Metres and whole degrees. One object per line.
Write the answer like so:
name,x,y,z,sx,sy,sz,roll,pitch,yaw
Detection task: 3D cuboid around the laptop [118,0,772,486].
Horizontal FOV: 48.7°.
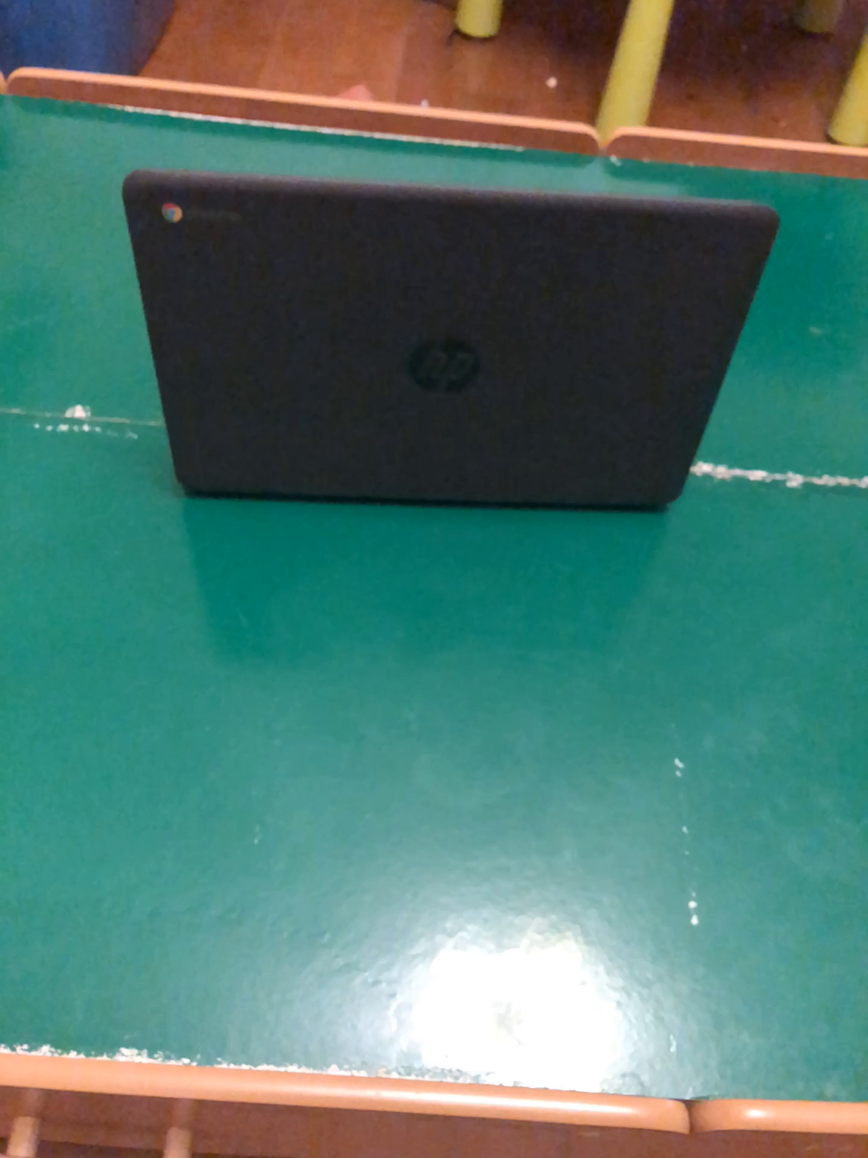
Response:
laptop,-0.002,-0.207,0.608,0.317,0.204,0.211,0,53,-6
